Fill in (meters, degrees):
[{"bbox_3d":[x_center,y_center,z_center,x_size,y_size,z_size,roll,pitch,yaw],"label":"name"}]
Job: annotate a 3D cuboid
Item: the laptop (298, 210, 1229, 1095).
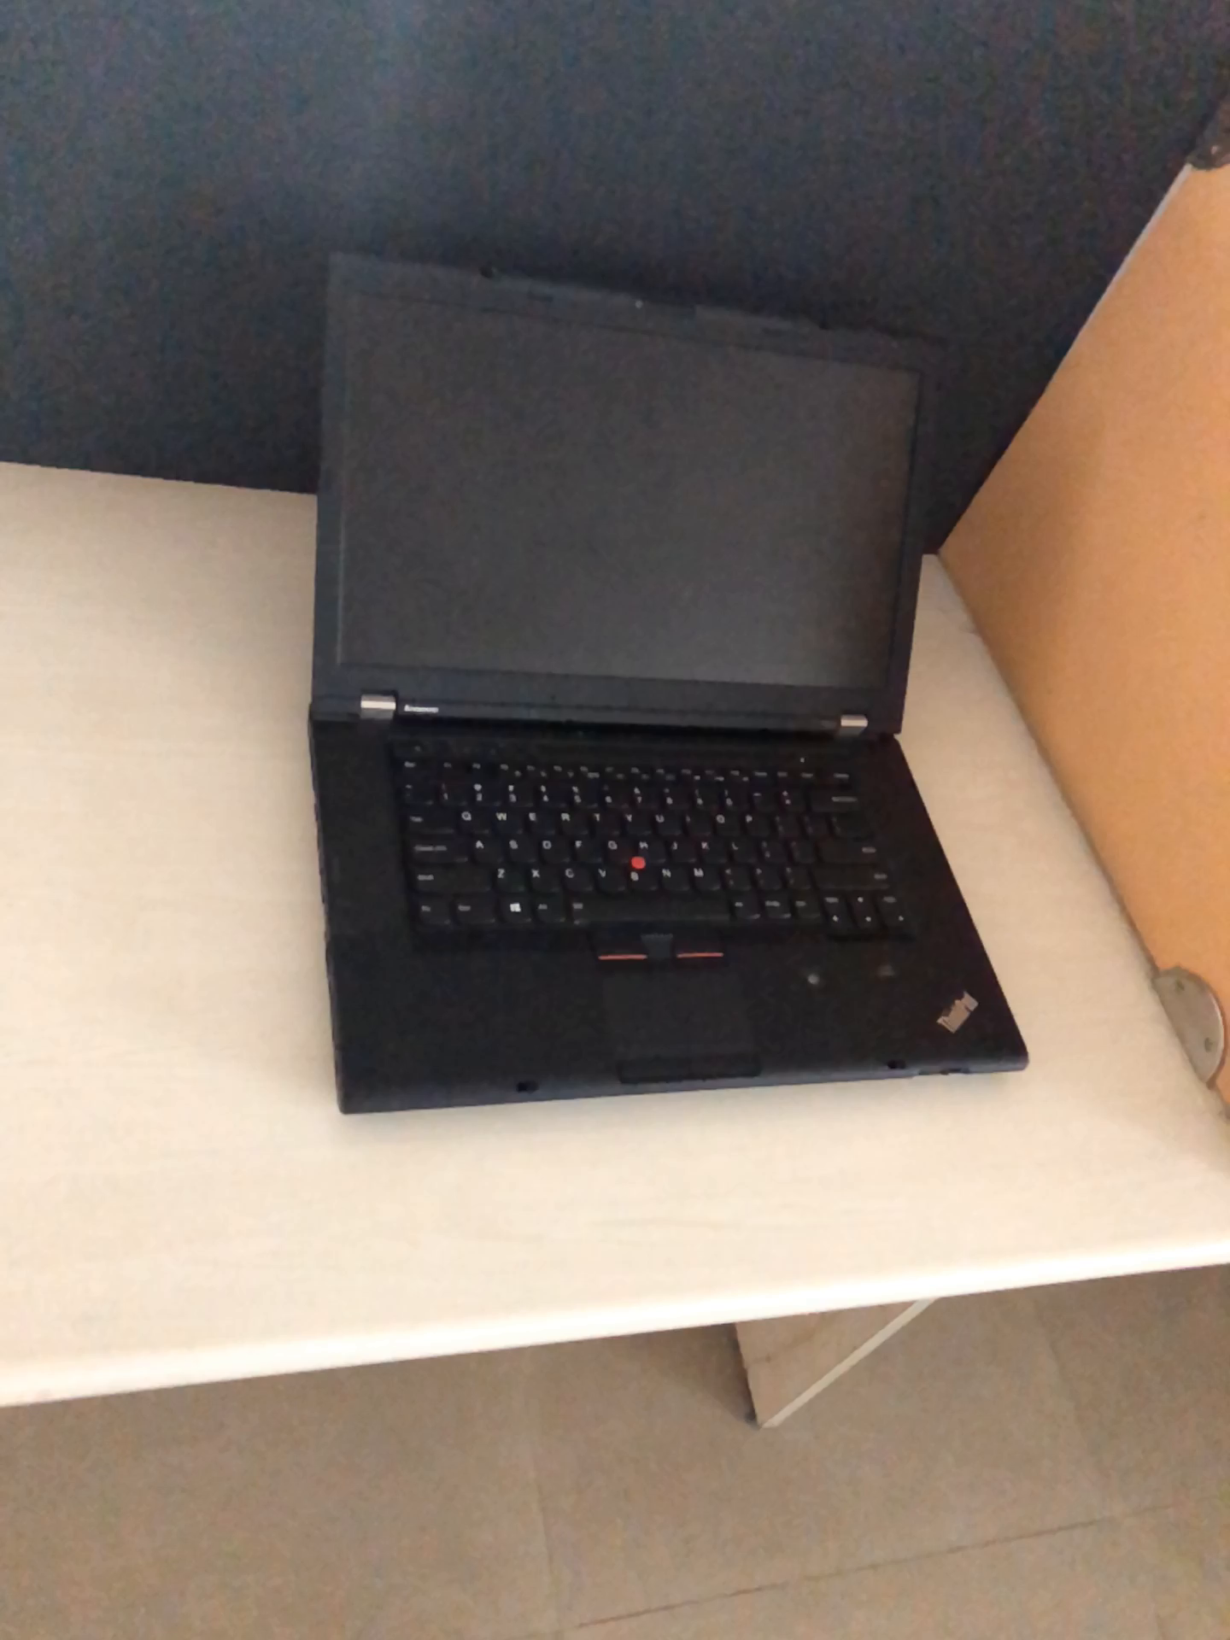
[{"bbox_3d":[0.041,-0.086,0.700,0.354,0.185,0.380,1,54,-21],"label":"laptop"}]
